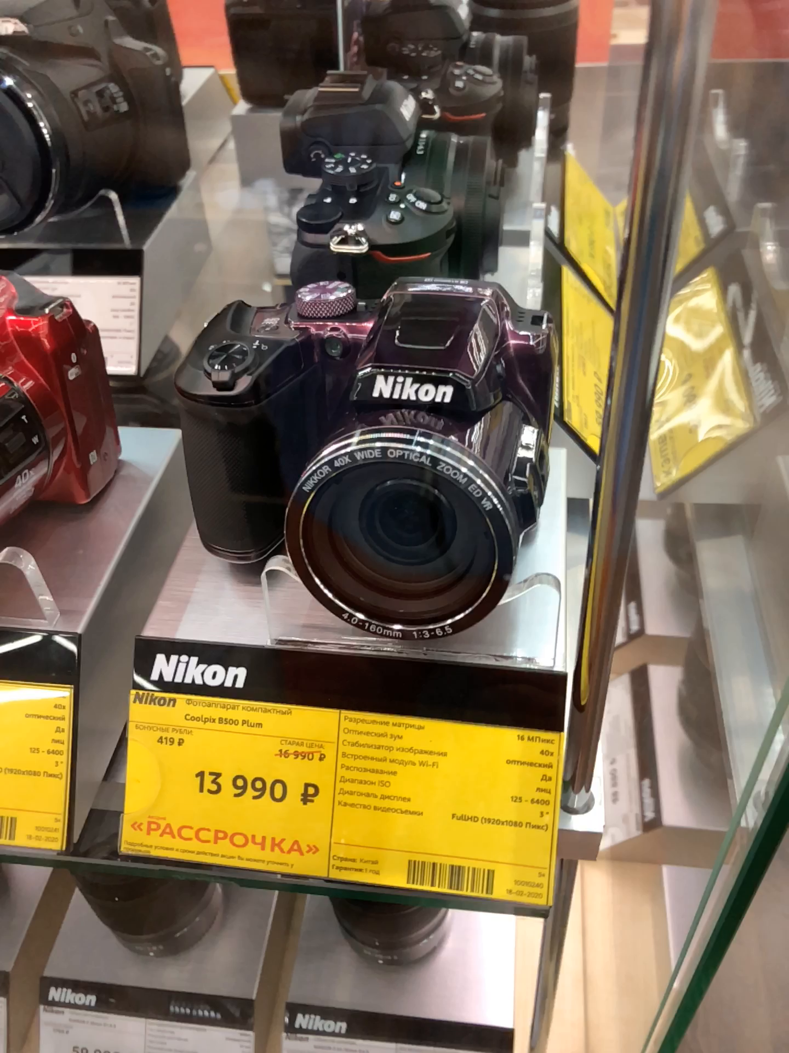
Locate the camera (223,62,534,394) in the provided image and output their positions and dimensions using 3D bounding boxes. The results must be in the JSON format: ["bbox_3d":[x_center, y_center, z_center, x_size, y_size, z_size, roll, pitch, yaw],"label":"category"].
[{"bbox_3d":[0.003,-0.133,0.377,0.100,0.084,0.134,5,44,9],"label":"camera"}]

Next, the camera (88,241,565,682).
[{"bbox_3d":[-0.009,-0.024,0.264,0.109,0.080,0.101,5,44,9],"label":"camera"}]
